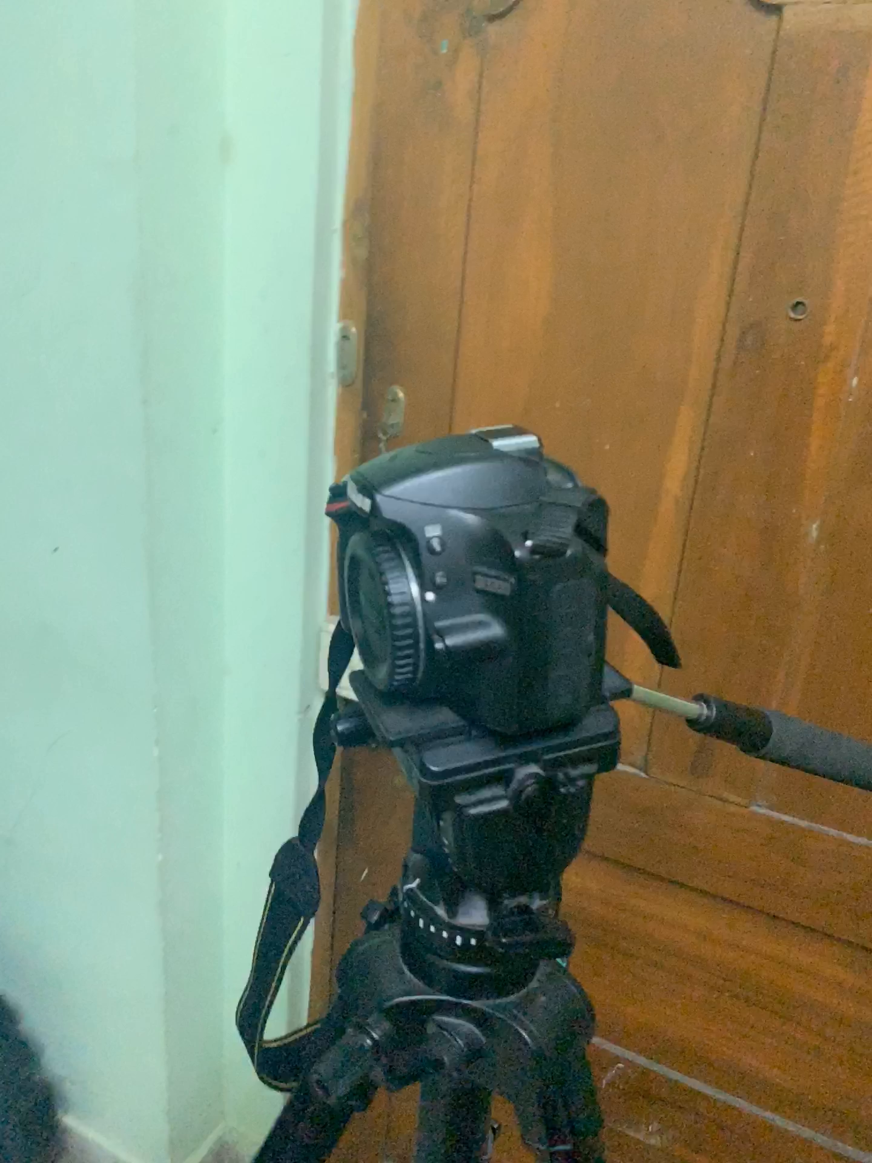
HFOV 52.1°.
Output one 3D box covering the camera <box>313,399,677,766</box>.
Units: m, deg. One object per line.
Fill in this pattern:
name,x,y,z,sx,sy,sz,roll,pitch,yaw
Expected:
camera,0.011,-0.009,0.334,0.086,0.096,0.118,-3,21,-21
